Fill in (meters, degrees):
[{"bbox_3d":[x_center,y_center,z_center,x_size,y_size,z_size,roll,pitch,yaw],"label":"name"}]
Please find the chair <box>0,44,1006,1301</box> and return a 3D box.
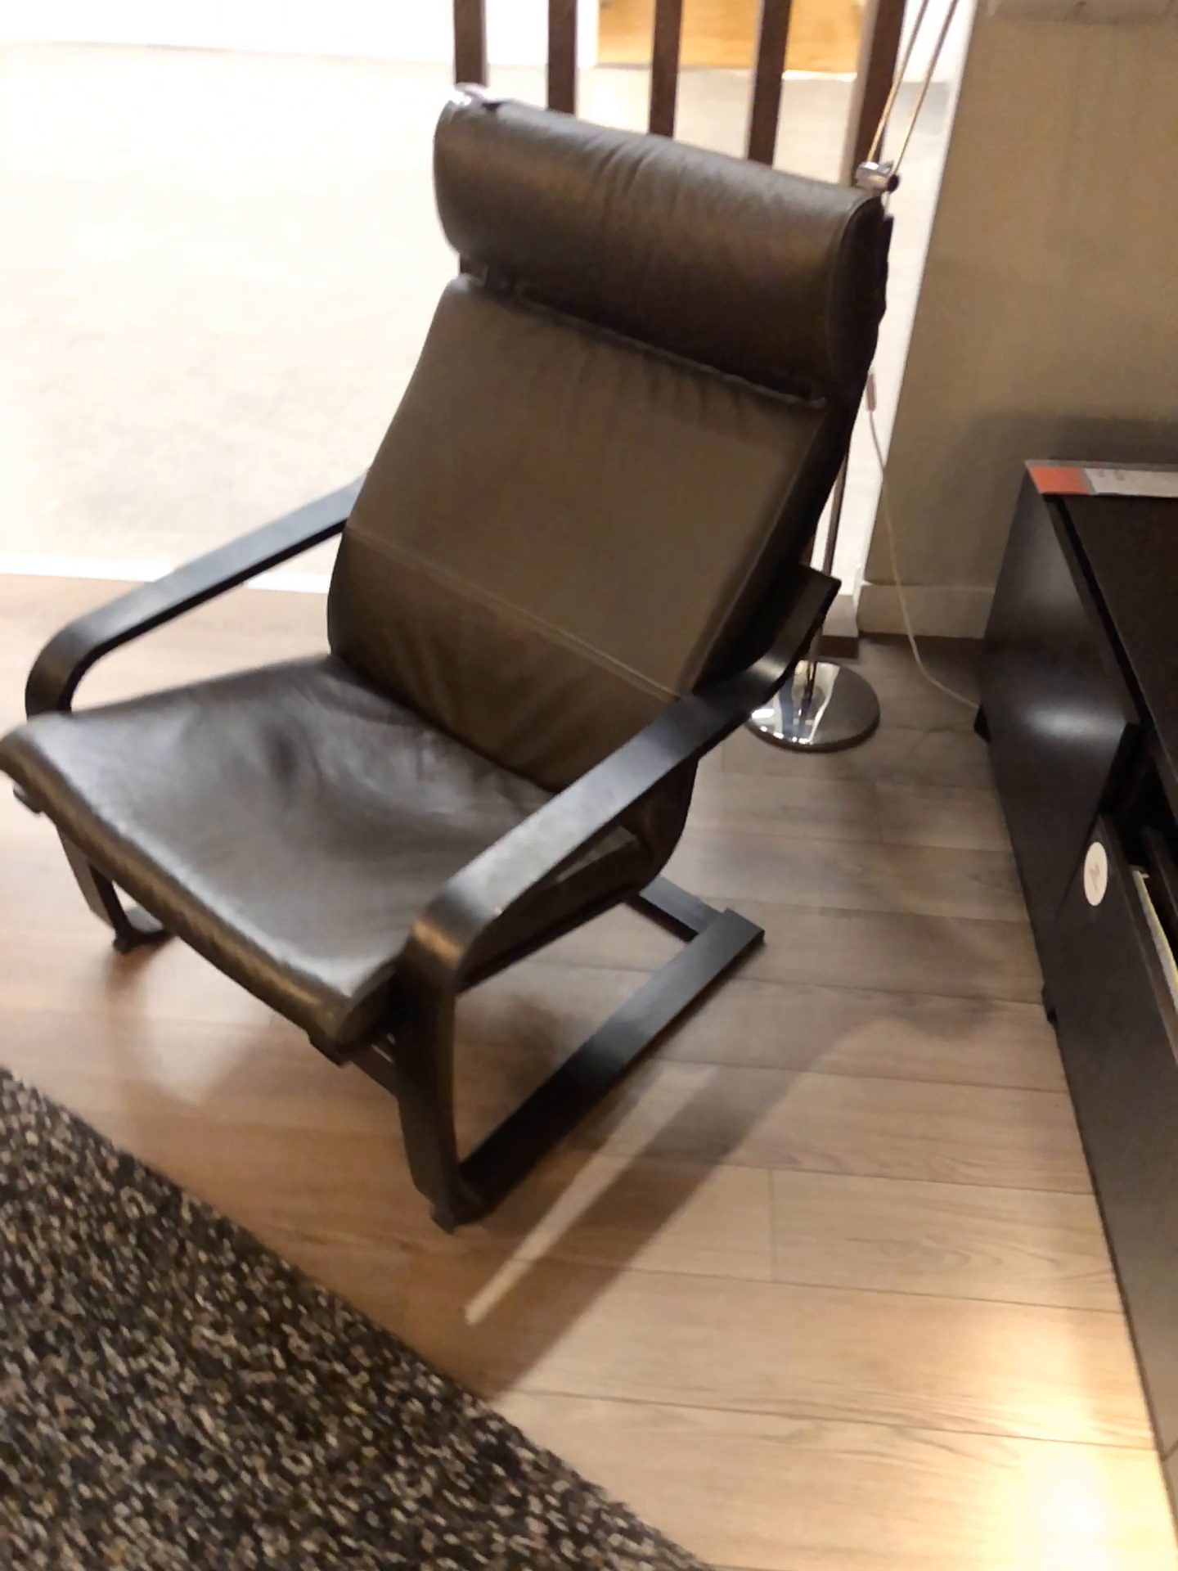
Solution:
[{"bbox_3d":[-0.180,-0.173,1.386,0.781,0.876,0.732,30,48,28],"label":"chair"}]
